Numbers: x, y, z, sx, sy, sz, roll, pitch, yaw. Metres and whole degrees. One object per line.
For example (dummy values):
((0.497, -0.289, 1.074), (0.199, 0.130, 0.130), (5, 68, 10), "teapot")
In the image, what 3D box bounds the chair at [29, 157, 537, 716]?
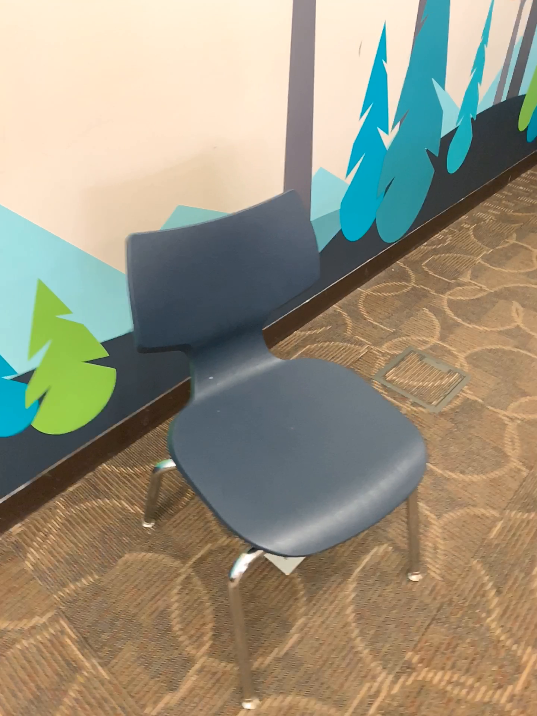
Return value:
((0.018, 0.131, 1.054), (0.571, 0.747, 0.582), (-24, 46, -27), "chair")
